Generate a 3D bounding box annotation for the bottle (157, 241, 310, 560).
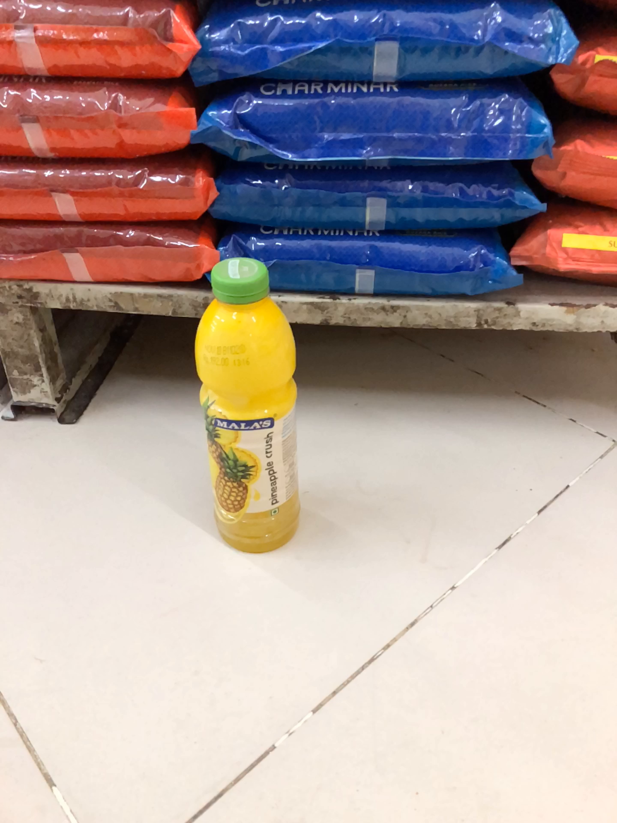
[{"bbox_3d":[-0.048,0.000,0.542,0.090,0.248,0.091,-1,37,1],"label":"bottle"}]
